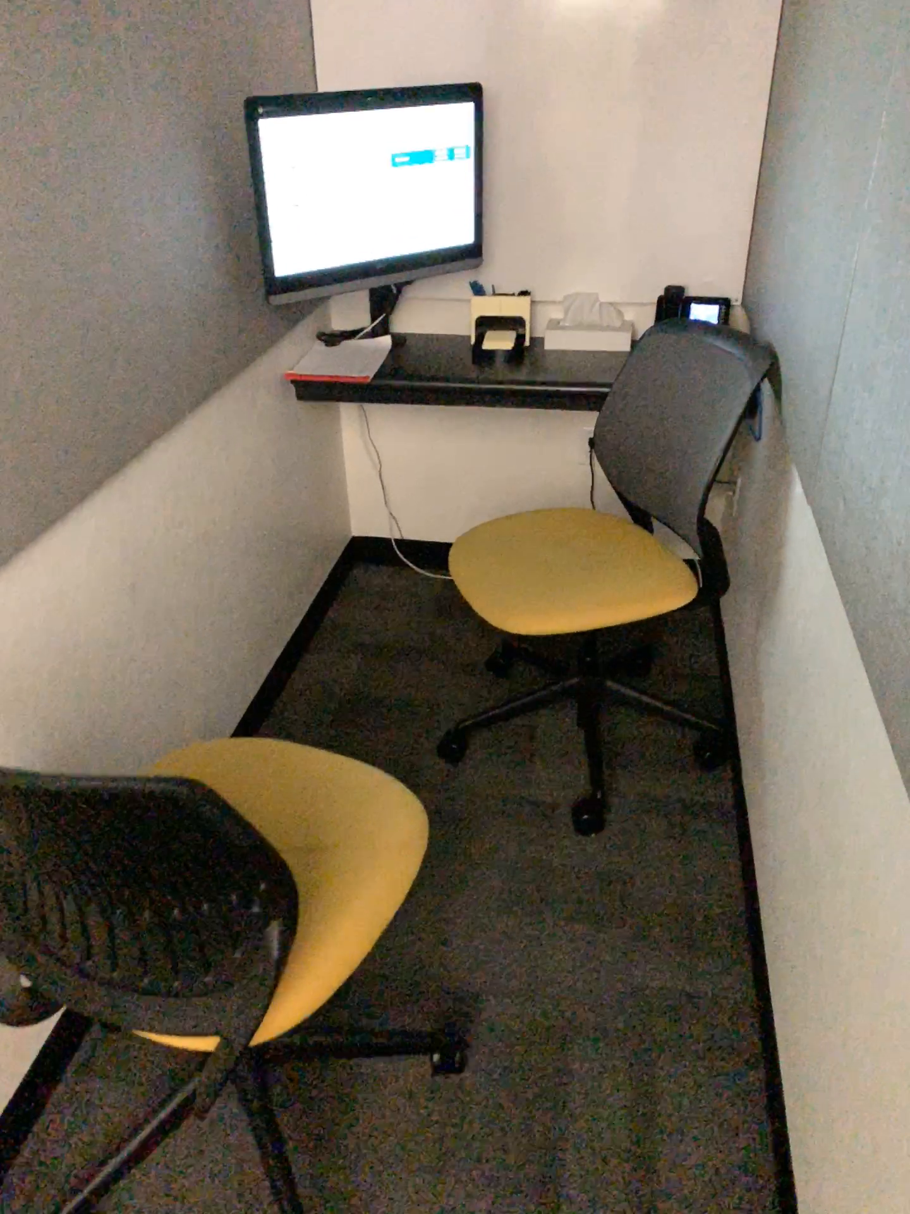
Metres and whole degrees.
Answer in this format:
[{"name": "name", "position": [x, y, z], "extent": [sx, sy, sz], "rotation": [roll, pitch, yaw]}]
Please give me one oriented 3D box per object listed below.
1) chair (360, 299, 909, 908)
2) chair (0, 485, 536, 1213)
[{"name": "chair", "position": [0.404, -0.096, 2.343], "extent": [0.950, 1.034, 0.925], "rotation": [-15, 34, -21]}, {"name": "chair", "position": [-0.284, 0.401, 1.101], "extent": [0.551, 0.845, 0.572], "rotation": [15, 35, 24]}]
